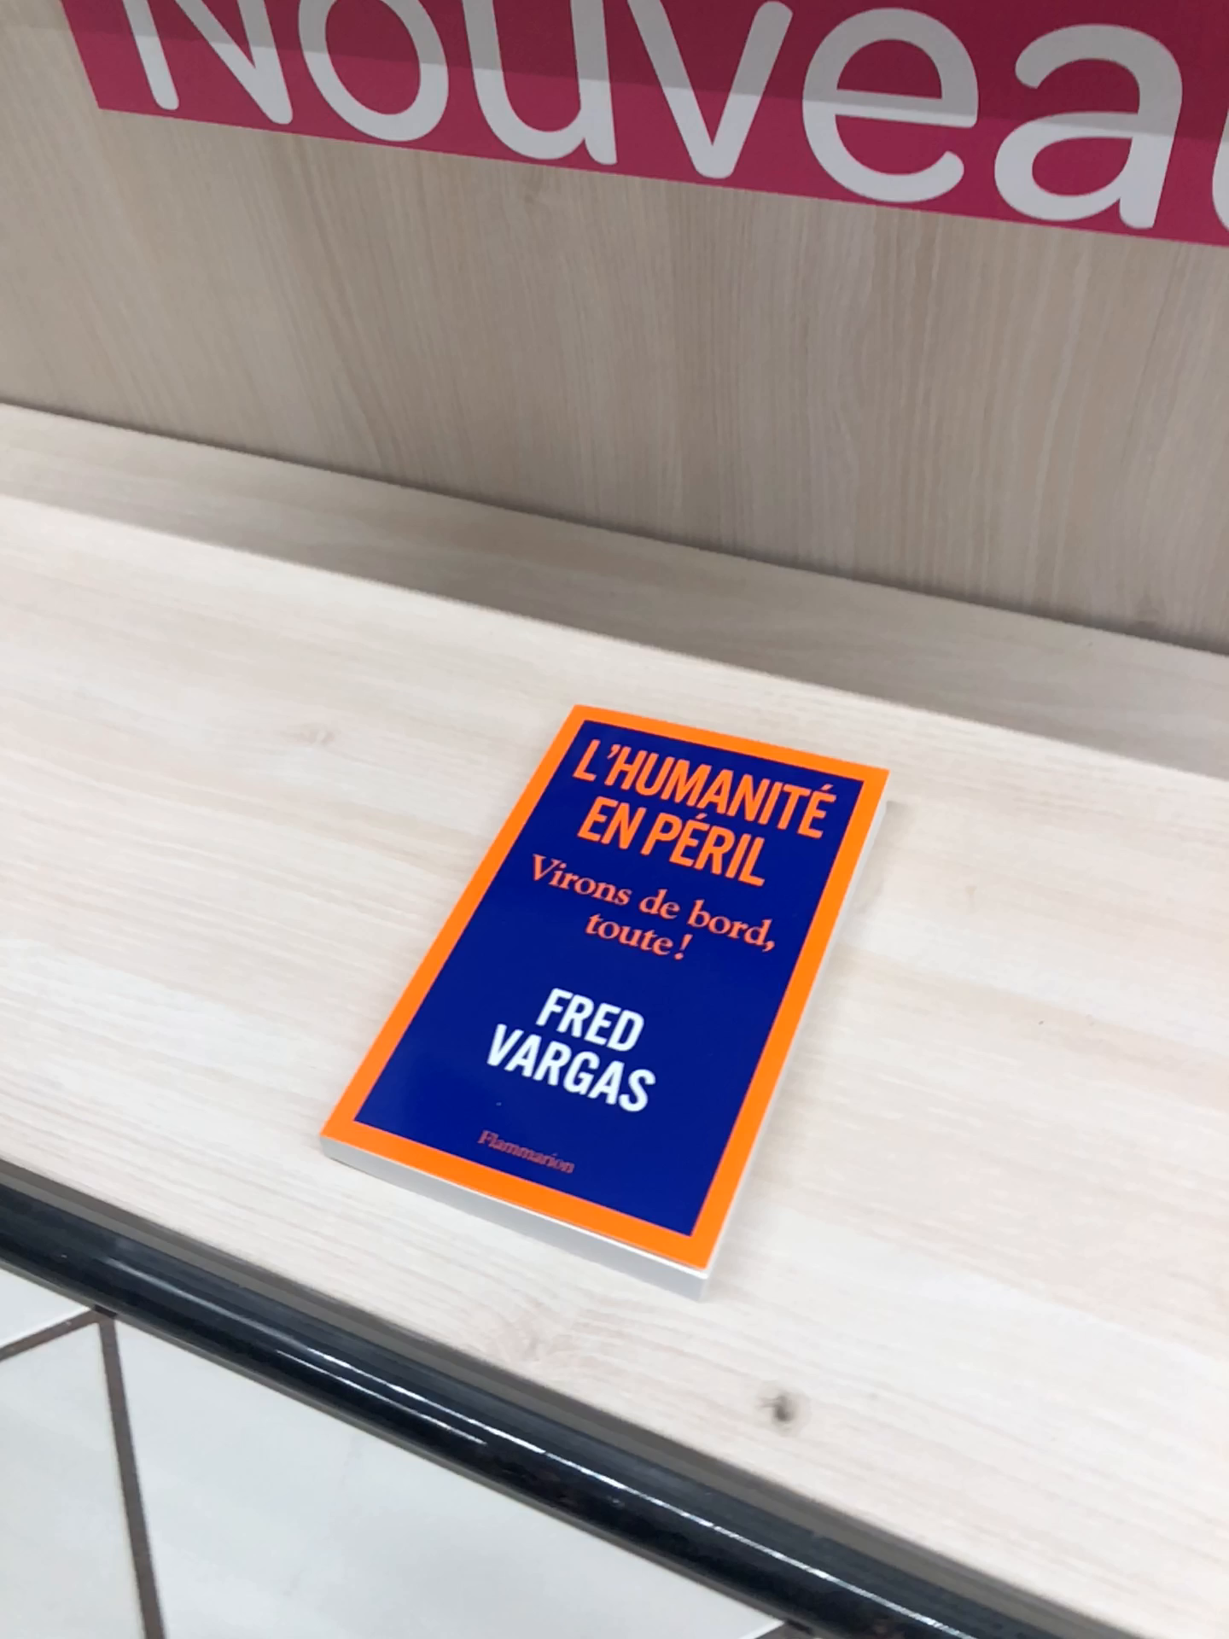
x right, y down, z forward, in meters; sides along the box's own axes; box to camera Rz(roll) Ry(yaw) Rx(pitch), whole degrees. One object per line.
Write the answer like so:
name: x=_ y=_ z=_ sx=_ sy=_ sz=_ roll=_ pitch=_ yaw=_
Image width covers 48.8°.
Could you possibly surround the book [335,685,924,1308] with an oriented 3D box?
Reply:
book: x=0.015 y=0.047 z=0.481 sx=0.137 sy=0.030 sz=0.208 roll=15 pitch=53 yaw=17
